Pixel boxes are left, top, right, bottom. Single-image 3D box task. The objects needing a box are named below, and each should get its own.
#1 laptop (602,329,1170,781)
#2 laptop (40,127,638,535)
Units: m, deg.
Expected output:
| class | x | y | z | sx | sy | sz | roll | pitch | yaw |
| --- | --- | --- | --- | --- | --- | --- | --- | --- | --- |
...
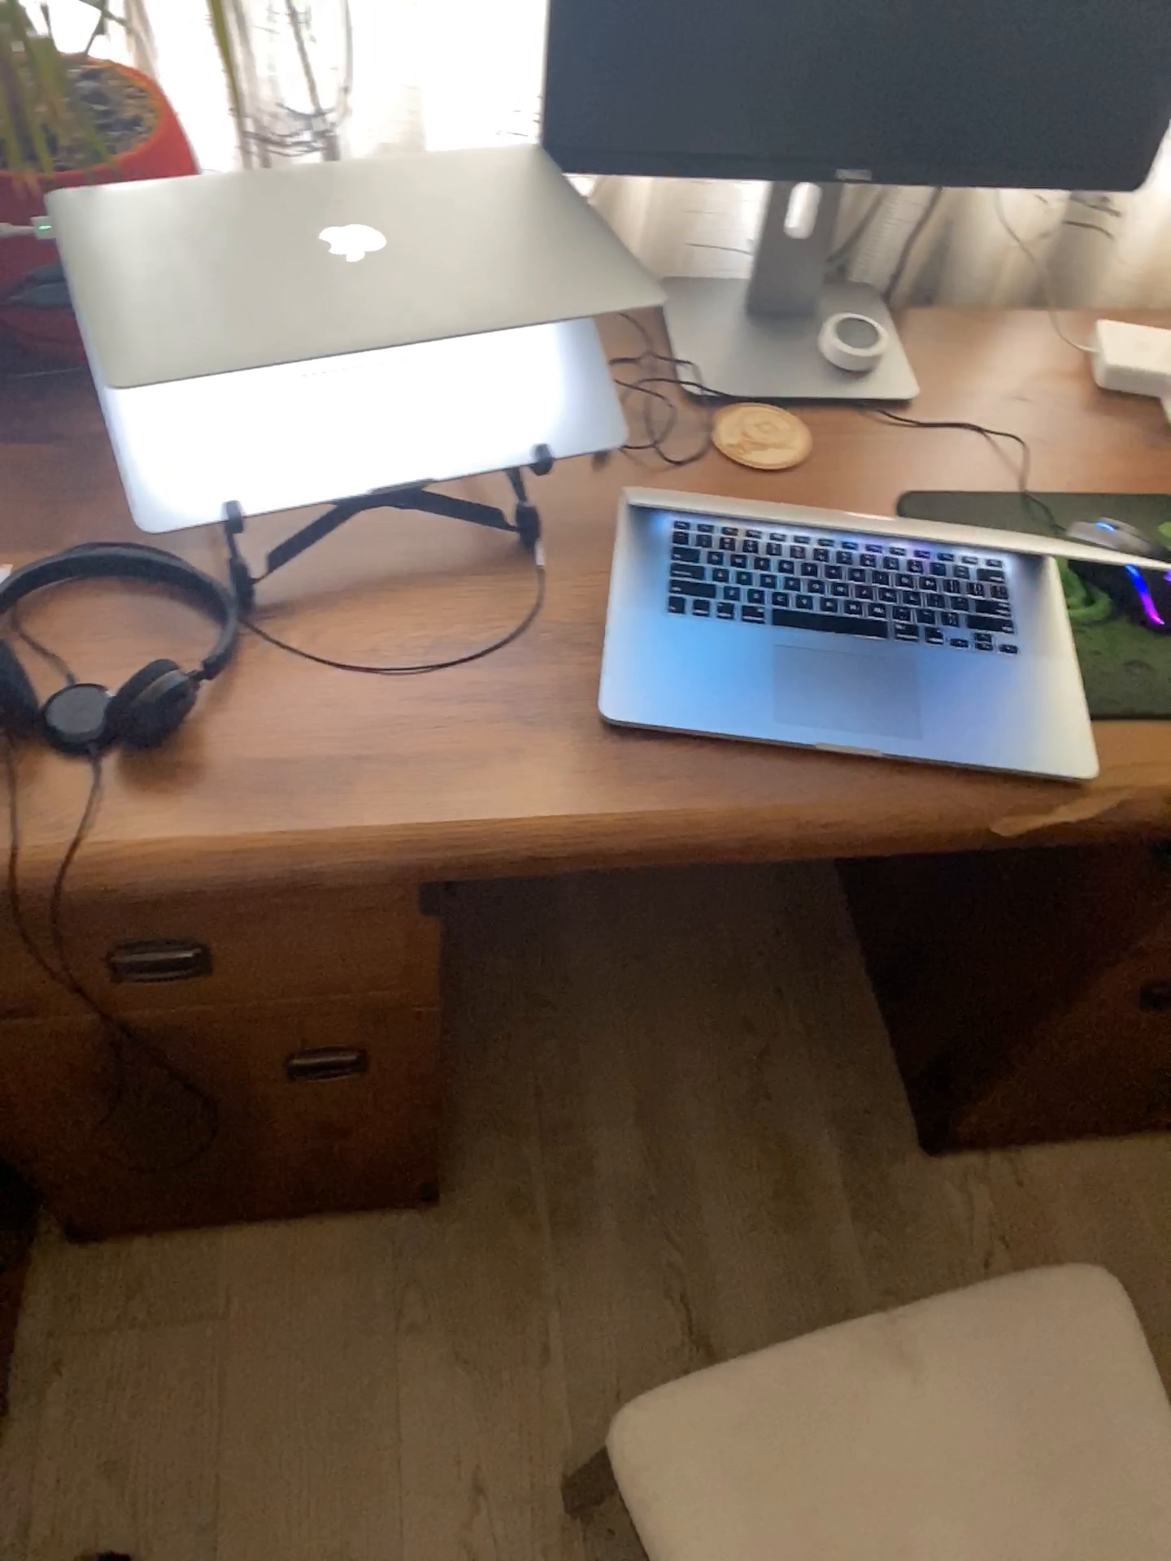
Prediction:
| class | x | y | z | sx | sy | sz | roll | pitch | yaw |
| --- | --- | --- | --- | --- | --- | --- | --- | --- | --- |
| laptop | 0.205 | -0.162 | 0.849 | 0.355 | 0.152 | 0.236 | 8 | 54 | -2 |
| laptop | -0.164 | -0.327 | 0.836 | 0.355 | 0.022 | 0.243 | -15 | 81 | -17 |
